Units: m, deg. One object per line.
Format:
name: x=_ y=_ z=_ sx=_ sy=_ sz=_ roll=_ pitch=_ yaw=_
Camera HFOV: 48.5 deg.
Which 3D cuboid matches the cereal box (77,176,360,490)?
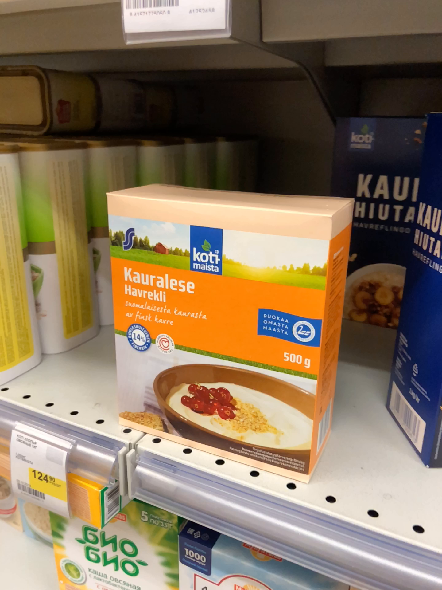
cereal box: x=-0.003 y=0.015 z=0.330 sx=0.160 sy=0.169 sz=0.070 roll=10 pitch=21 yaw=24
